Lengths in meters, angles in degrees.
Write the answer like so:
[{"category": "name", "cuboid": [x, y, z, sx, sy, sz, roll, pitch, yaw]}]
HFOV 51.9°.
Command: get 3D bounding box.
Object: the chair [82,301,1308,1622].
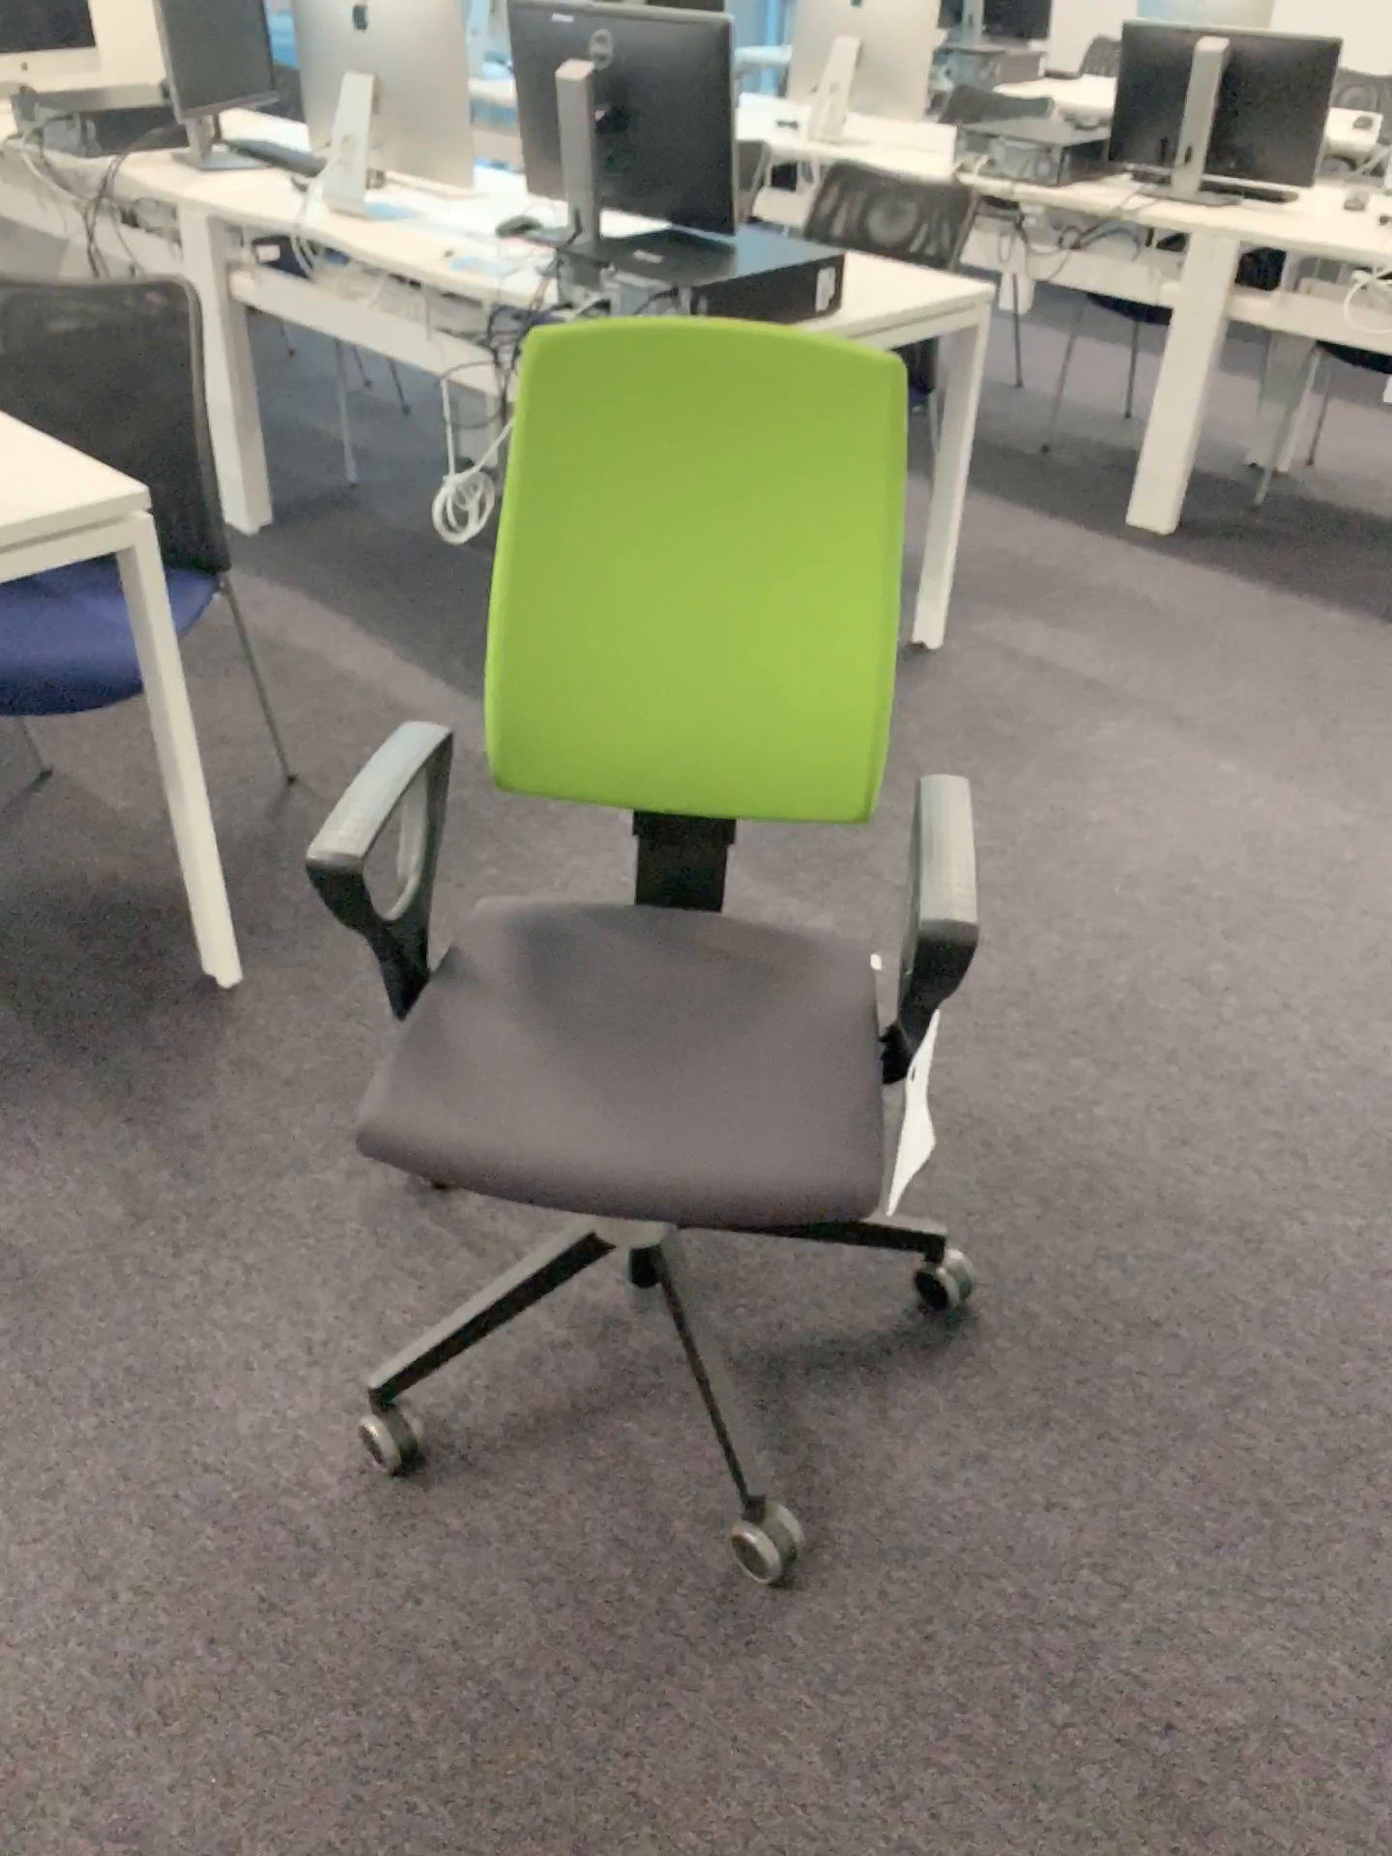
[{"category": "chair", "cuboid": [0.000, 0.044, 1.417, 0.720, 1.054, 0.674, 5, 36, 3]}]
